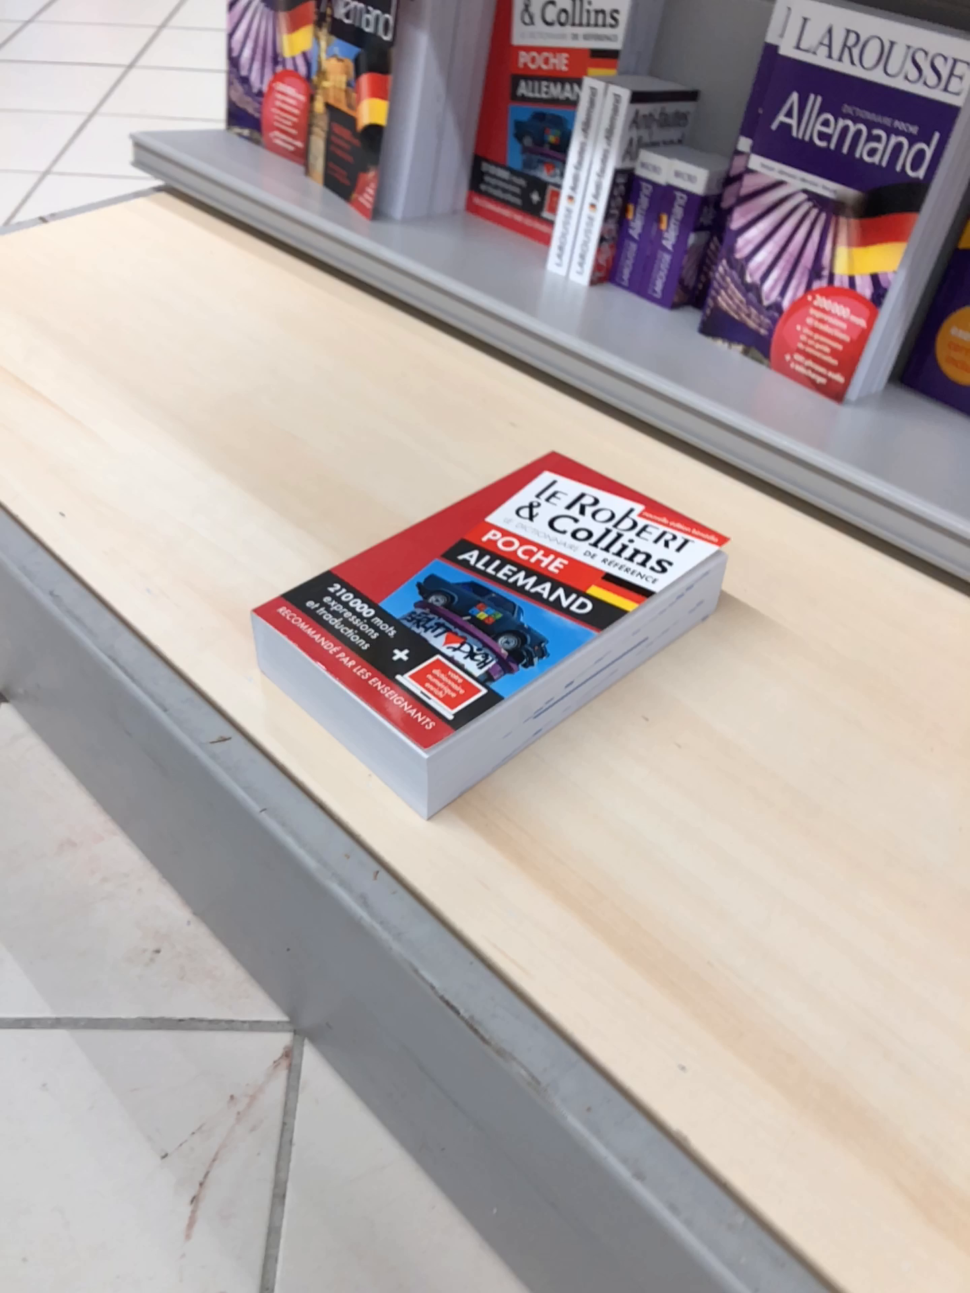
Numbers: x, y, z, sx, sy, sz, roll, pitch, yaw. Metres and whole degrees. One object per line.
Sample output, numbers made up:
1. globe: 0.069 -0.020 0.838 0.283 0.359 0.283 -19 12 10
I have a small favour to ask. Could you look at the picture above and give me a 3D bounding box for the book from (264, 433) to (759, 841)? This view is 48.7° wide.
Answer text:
1. book: 0.014 -0.015 0.446 0.171 0.050 0.110 -33 51 -30
